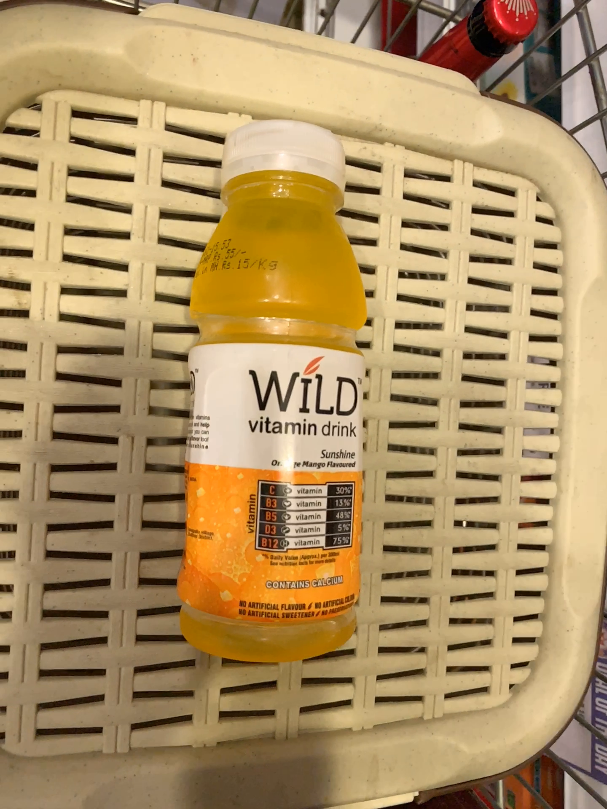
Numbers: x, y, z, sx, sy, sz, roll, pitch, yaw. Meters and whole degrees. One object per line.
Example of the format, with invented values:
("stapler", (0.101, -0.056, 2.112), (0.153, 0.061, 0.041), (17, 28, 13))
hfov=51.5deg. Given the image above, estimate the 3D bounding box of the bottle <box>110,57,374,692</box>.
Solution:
("bottle", (-0.023, -0.007, 0.209), (0.060, 0.060, 0.170), (2, 91, -31))
